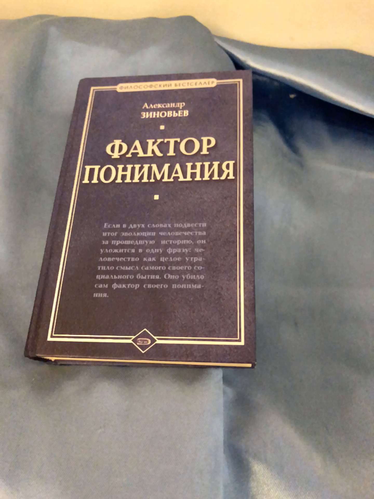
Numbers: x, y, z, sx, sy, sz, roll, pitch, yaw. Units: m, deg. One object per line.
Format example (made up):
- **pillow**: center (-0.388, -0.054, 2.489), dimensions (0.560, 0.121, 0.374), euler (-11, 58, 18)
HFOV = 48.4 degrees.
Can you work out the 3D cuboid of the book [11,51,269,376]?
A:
- **book**: center (-0.019, -0.034, 0.282), dimensions (0.140, 0.040, 0.221), euler (0, 65, 9)
